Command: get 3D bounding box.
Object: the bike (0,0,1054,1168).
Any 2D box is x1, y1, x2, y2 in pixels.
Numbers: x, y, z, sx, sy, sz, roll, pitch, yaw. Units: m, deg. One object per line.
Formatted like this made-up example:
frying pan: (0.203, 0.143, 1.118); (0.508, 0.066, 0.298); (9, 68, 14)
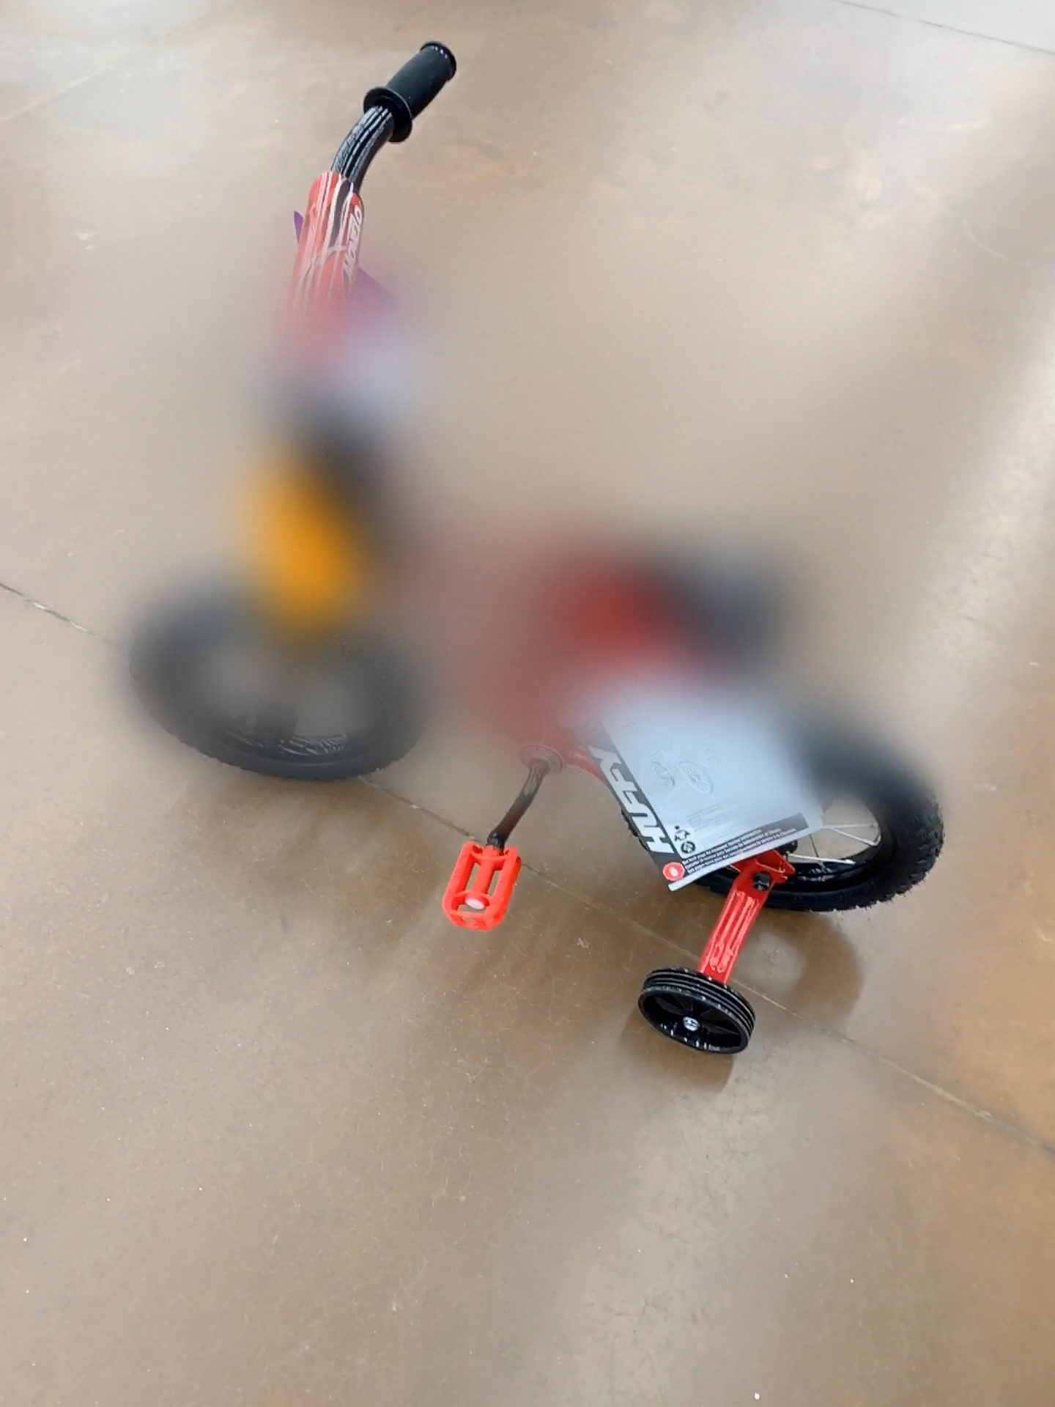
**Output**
bike: (-0.008, -0.079, 0.782); (0.735, 0.604, 0.441); (14, 52, 6)
